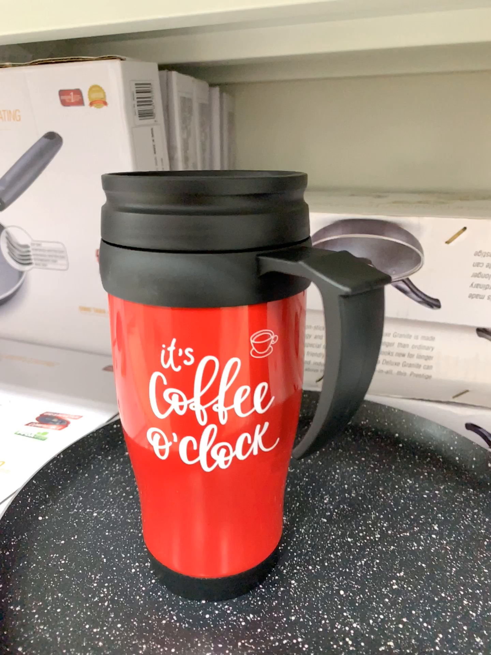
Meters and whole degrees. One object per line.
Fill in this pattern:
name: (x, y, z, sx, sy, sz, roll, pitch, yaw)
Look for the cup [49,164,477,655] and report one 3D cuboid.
cup: (0.004, 0.024, 0.204, 0.120, 0.169, 0.090, 15, 22, 40)
